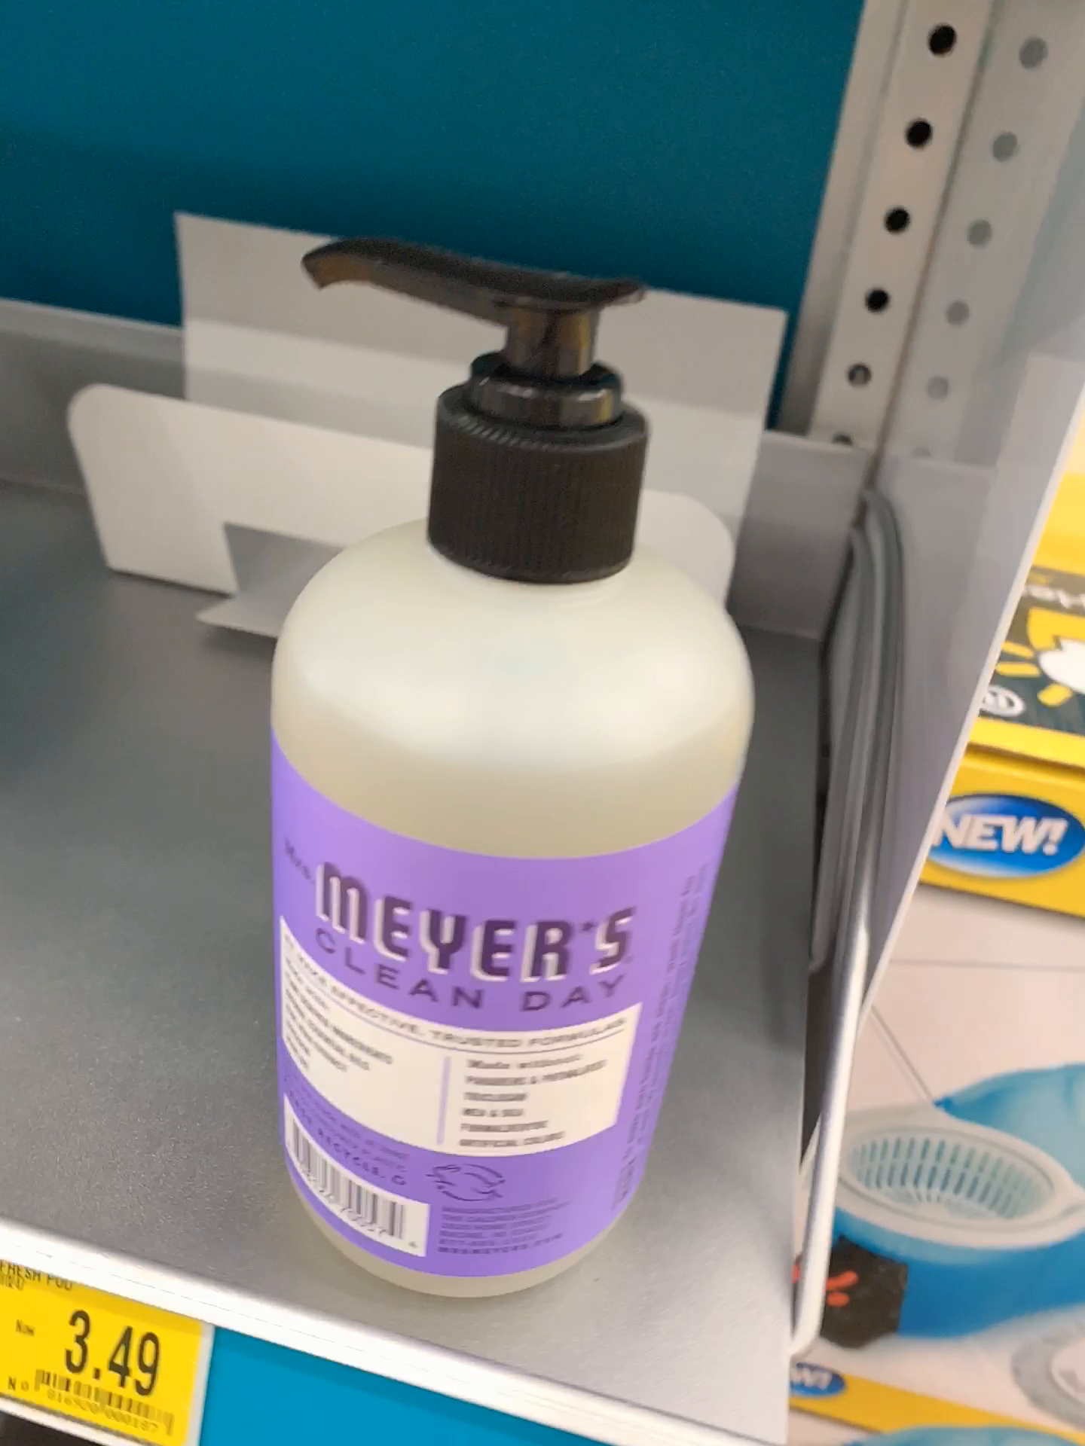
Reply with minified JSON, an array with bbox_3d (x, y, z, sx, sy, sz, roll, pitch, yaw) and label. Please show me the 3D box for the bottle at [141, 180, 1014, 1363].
[{"bbox_3d":[-0.002,0.013,0.175,0.080,0.159,0.070,8,31,1],"label":"bottle"}]
